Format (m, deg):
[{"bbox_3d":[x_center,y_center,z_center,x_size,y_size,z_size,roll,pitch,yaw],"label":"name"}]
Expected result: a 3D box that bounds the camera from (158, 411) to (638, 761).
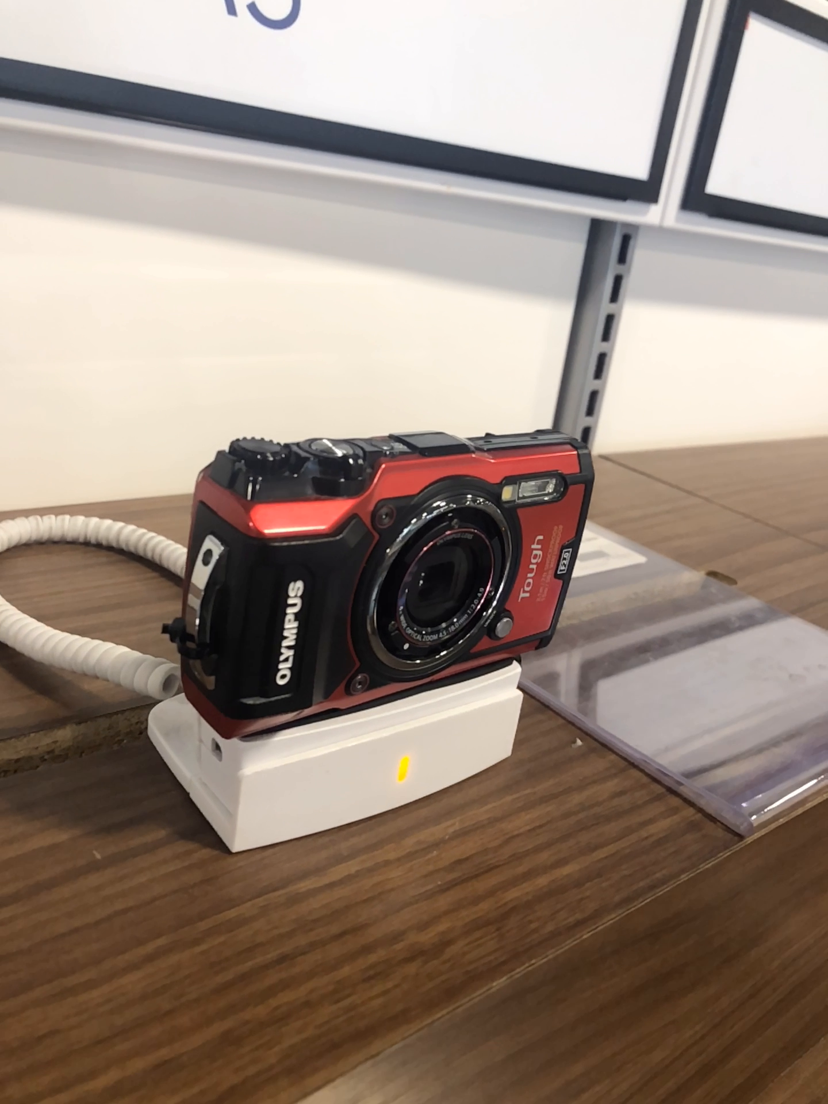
[{"bbox_3d":[0.000,0.002,0.227,0.117,0.064,0.030,-8,26,-38],"label":"camera"}]
